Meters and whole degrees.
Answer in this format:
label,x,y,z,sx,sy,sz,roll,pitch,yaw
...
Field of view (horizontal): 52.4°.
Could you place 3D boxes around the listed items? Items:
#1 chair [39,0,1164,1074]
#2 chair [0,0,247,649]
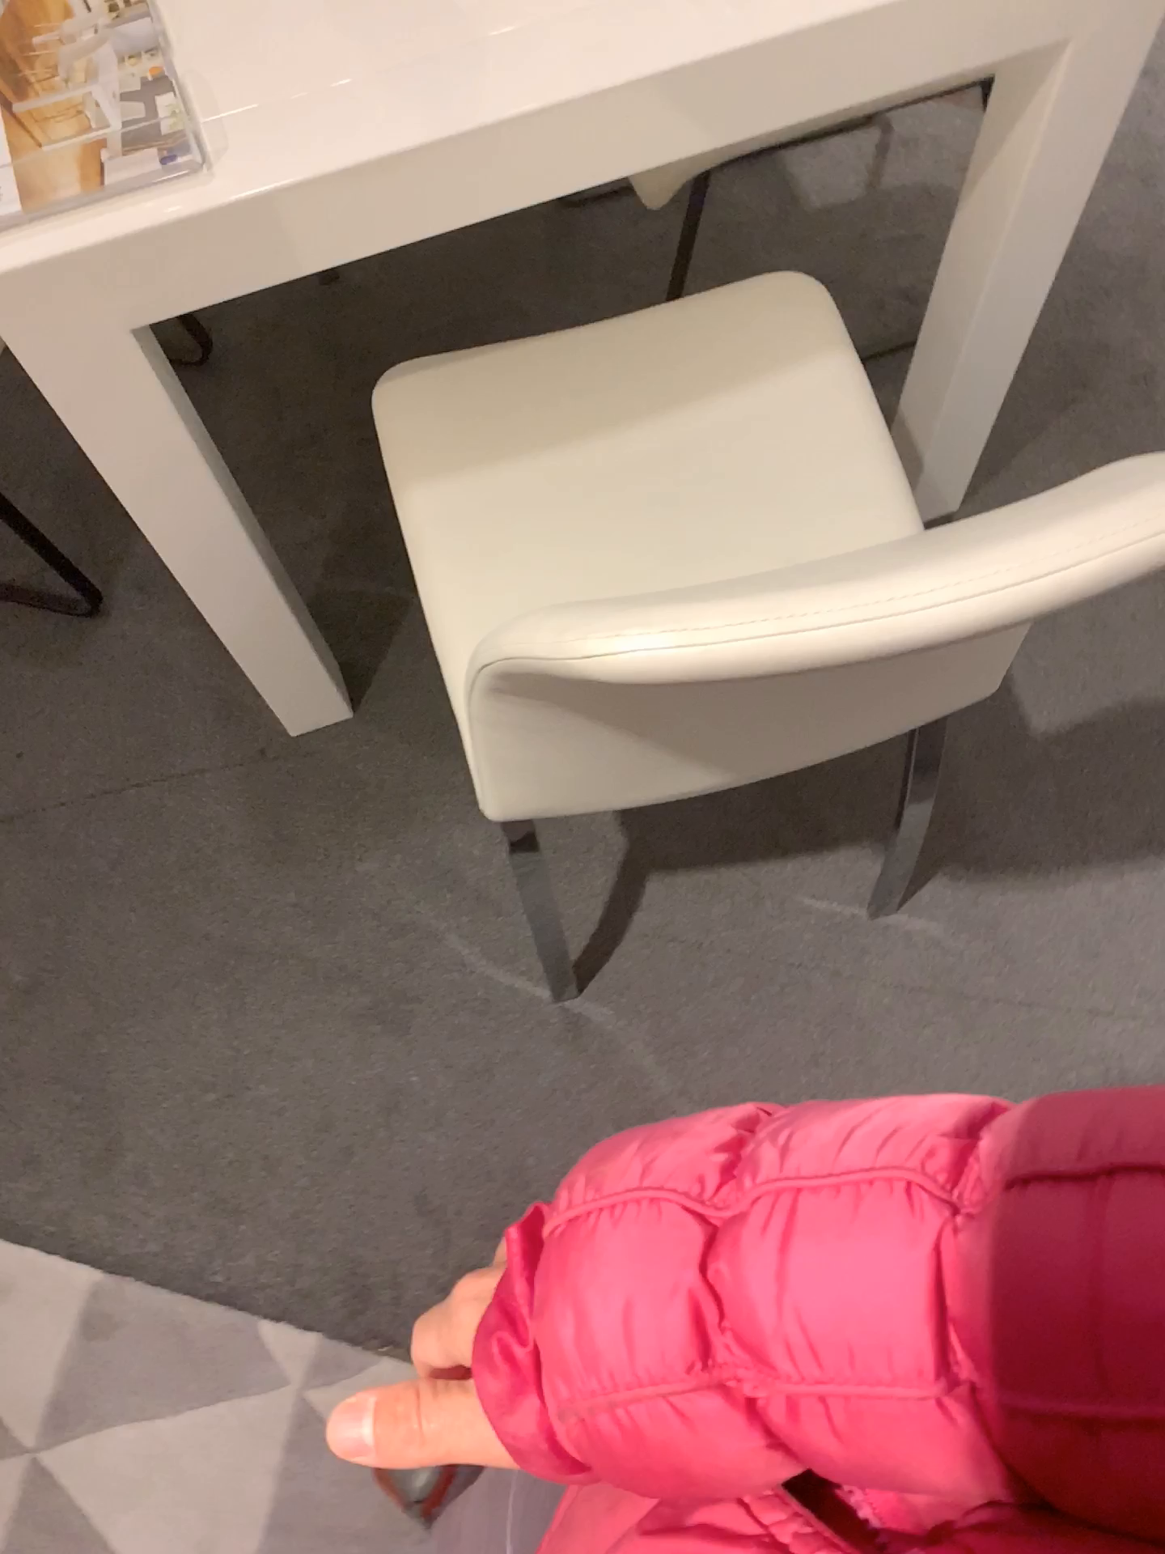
label,x,y,z,sx,sy,sz,roll,pitch,yaw
chair,0.083,-0.200,0.943,0.487,0.942,0.612,-20,69,-4
chair,-0.805,-0.591,1.122,0.569,0.912,0.479,12,70,7
